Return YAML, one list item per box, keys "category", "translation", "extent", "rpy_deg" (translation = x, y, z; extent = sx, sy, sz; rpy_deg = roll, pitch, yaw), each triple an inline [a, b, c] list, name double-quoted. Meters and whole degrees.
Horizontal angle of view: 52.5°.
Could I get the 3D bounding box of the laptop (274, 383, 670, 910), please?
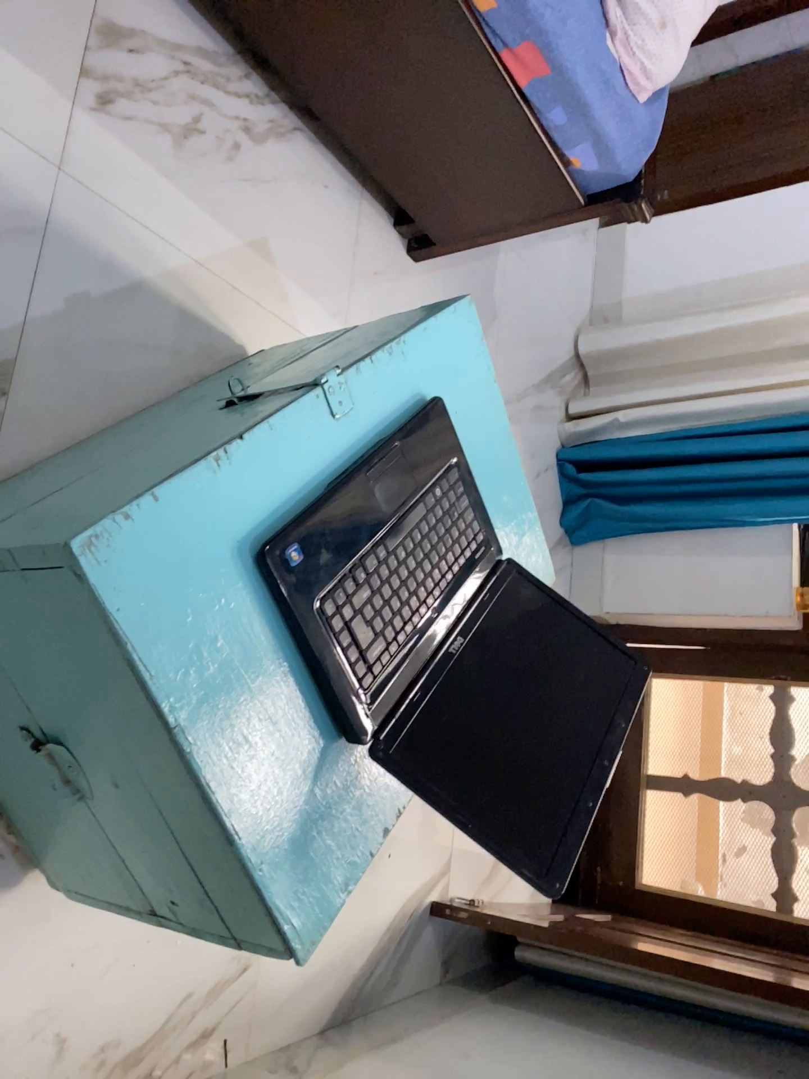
- category: "laptop"
  translation: [0.114, 0.097, 0.903]
  extent: [0.364, 0.162, 0.413]
  rpy_deg: [-48, 123, -46]
